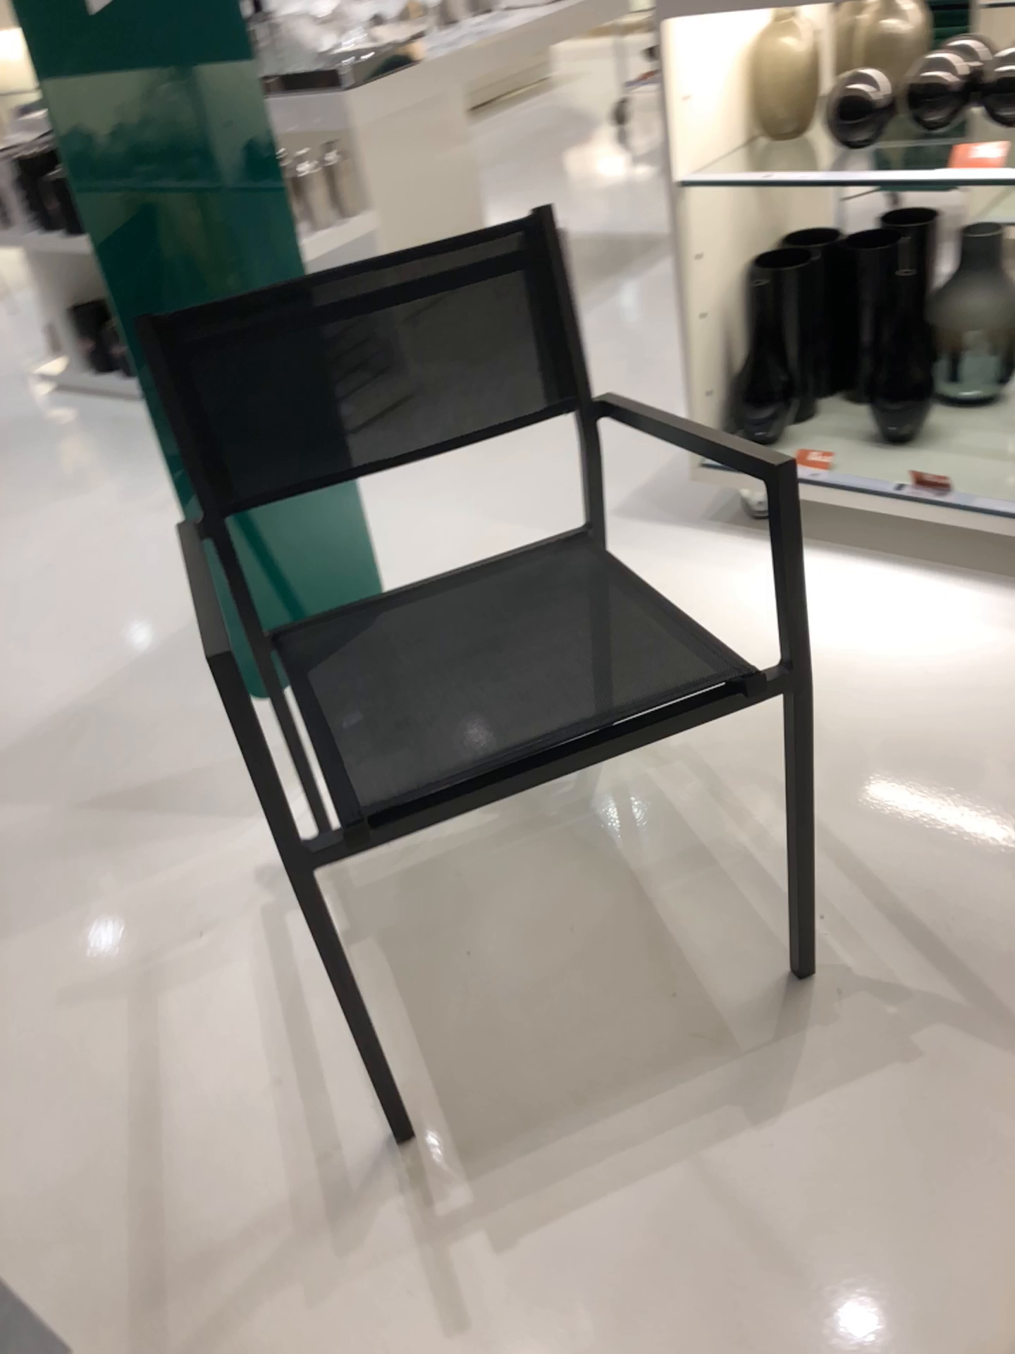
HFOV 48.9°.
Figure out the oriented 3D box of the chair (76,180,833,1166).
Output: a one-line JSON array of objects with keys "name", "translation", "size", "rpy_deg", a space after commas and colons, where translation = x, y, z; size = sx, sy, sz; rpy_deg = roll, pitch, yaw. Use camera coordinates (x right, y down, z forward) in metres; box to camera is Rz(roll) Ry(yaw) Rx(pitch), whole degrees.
[{"name": "chair", "translation": [-0.048, -0.035, 1.279], "size": [0.570, 0.794, 0.604], "rpy_deg": [-19, 36, -11]}]
